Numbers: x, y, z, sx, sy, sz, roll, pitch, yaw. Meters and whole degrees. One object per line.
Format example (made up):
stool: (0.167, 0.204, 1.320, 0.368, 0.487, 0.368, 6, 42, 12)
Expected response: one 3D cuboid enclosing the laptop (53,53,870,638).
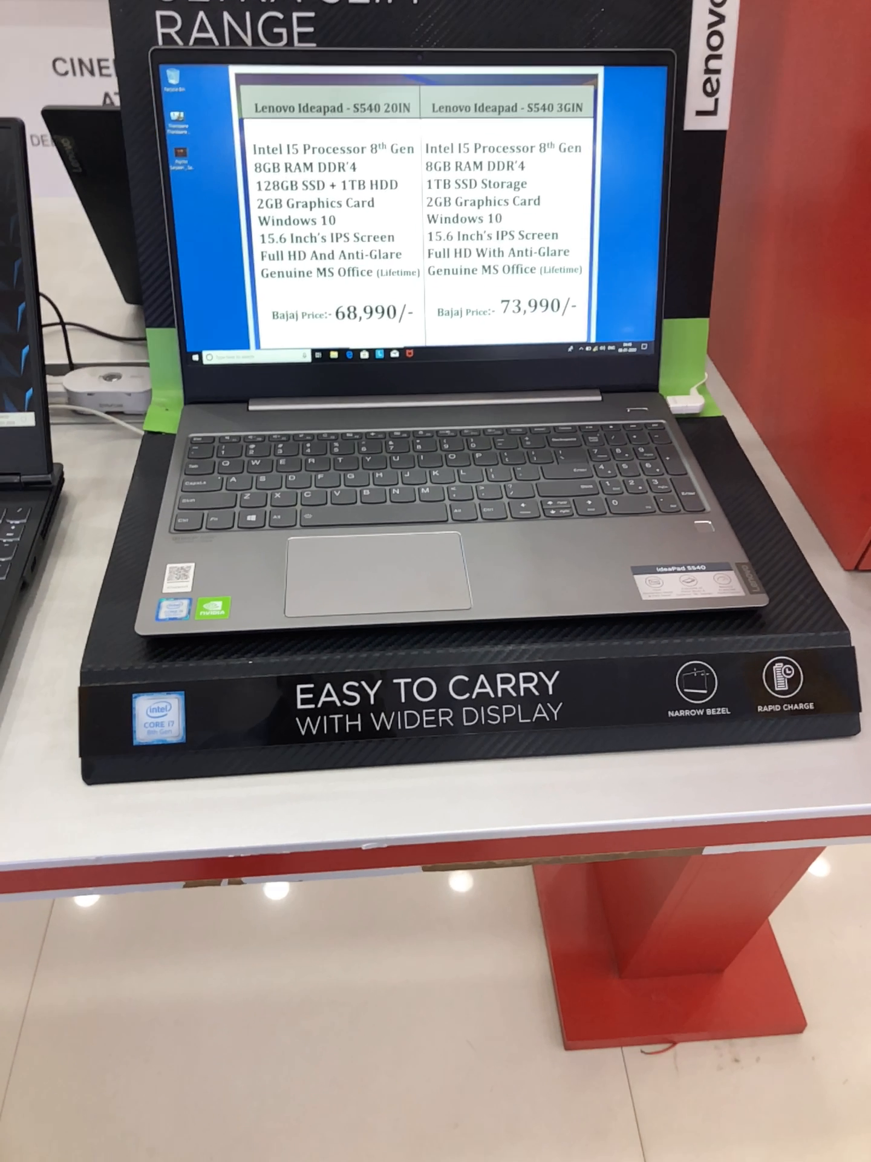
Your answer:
laptop: (0.004, -0.163, 0.571, 0.336, 0.194, 0.326, -3, 42, -5)
